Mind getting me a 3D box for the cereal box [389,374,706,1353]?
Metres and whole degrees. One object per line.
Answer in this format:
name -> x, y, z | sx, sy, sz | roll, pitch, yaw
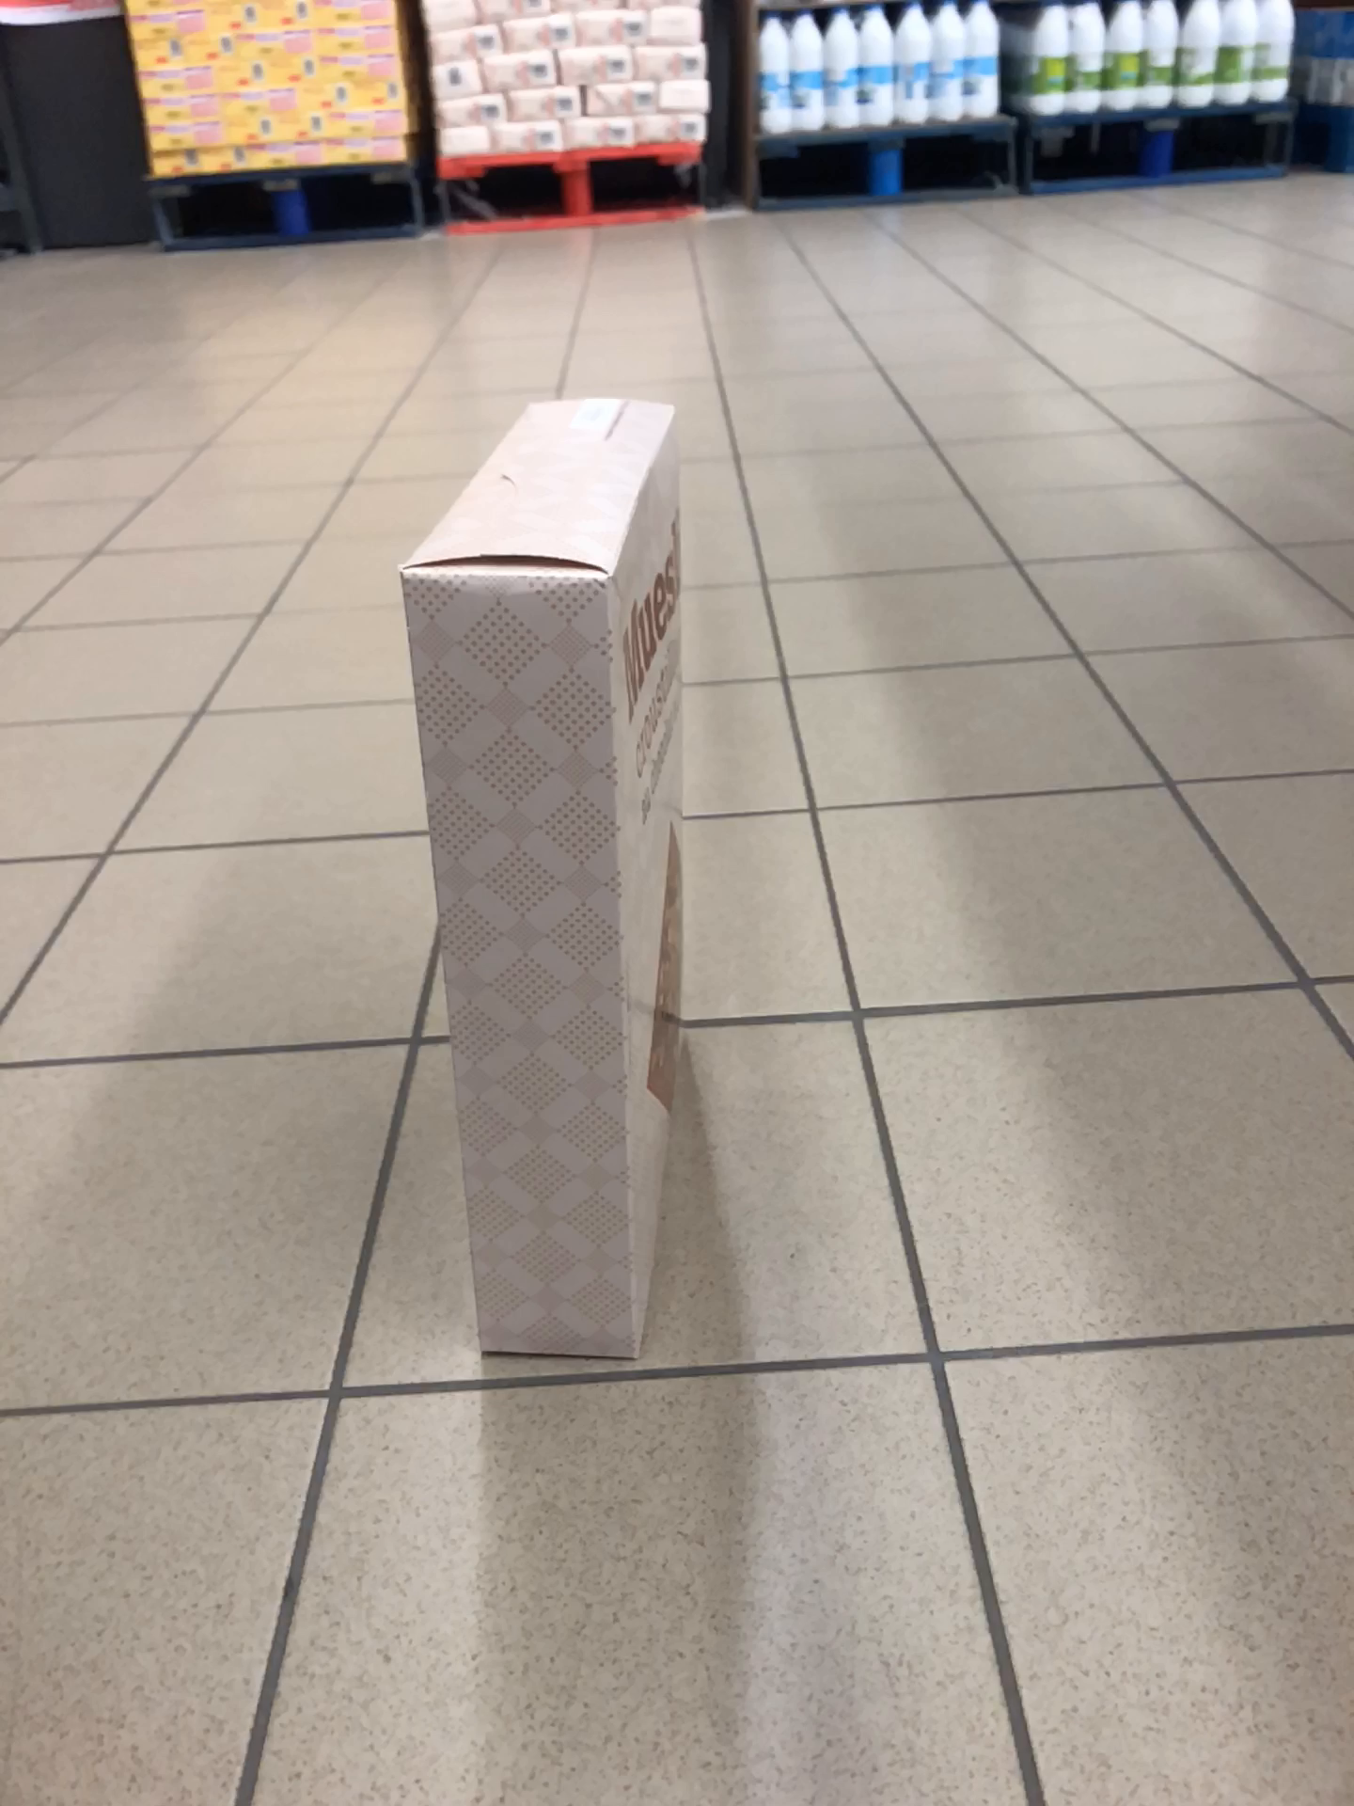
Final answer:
cereal box -> -0.028, -0.021, 0.510 | 0.060, 0.268, 0.201 | 2, 29, 5
